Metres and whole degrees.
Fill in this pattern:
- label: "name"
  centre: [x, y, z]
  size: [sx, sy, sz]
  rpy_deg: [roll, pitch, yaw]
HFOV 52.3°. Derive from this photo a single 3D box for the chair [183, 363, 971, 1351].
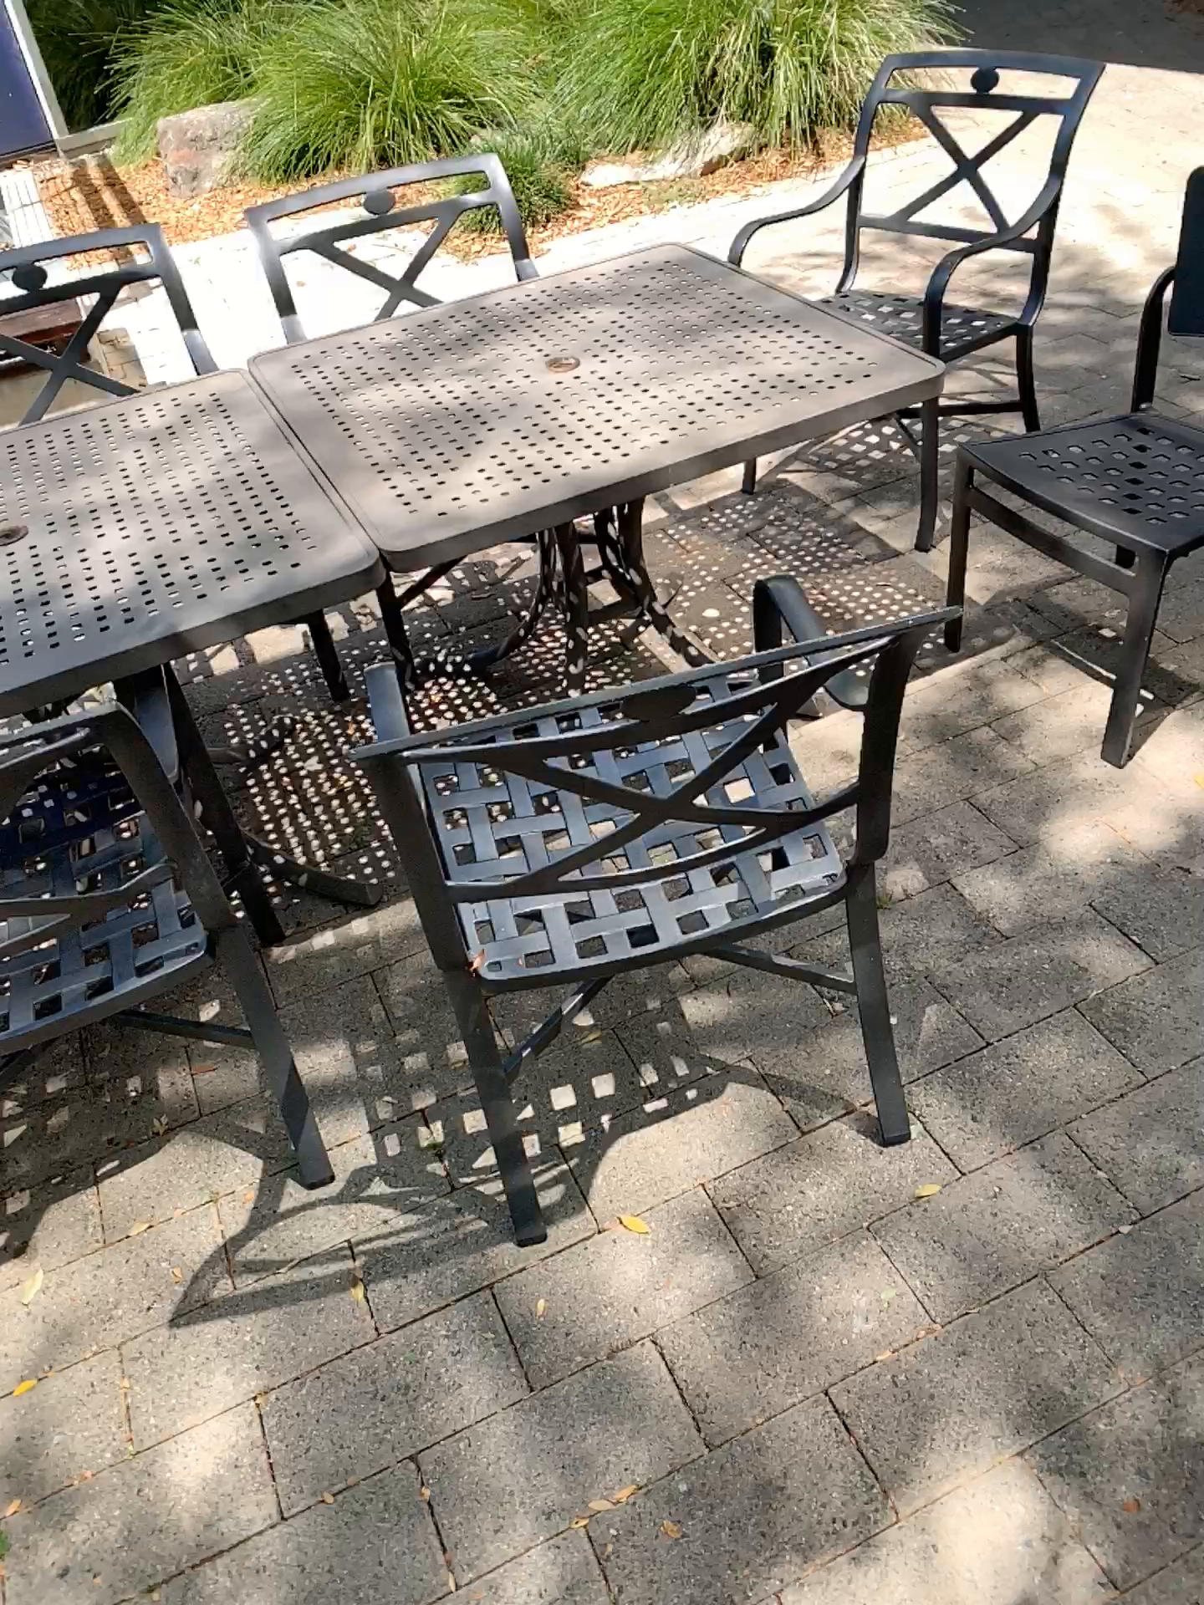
- label: "chair"
  centre: [-0.028, 0.074, 1.472]
  size: [0.630, 0.885, 0.614]
  rpy_deg: [-13, 40, -5]
